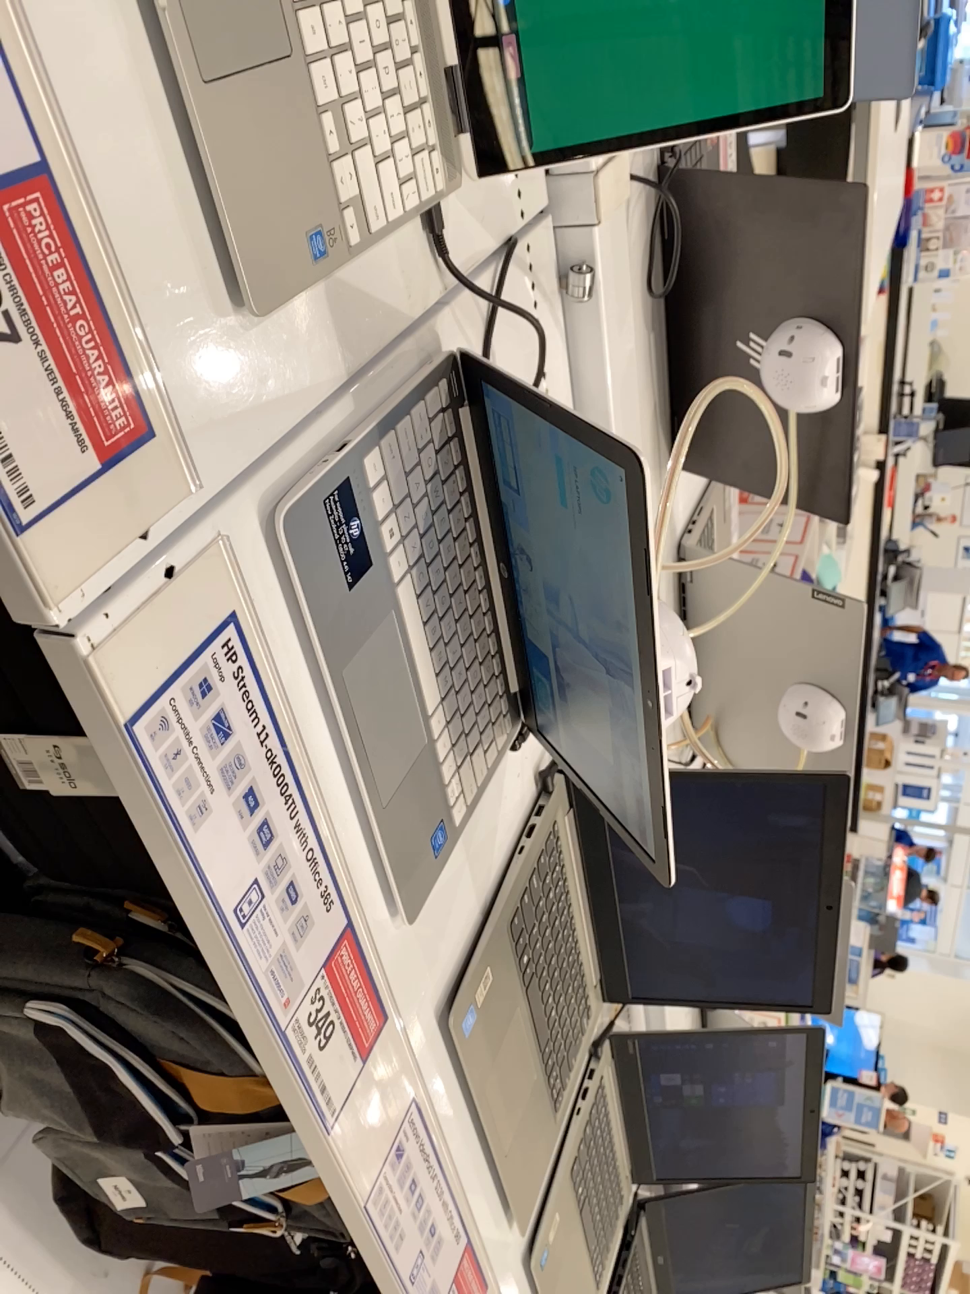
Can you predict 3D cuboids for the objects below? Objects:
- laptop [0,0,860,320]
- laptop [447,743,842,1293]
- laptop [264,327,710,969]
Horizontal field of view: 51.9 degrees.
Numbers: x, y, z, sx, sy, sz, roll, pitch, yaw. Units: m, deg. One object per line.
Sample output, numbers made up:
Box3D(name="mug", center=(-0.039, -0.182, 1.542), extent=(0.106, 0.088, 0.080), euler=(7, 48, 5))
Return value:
Box3D(name="laptop", center=(0.024, -0.310, 0.382), extent=(0.297, 0.189, 0.258), euler=(-59, 147, -46))
Box3D(name="laptop", center=(0.154, 0.299, 0.804), extent=(0.276, 0.212, 0.327), euler=(-59, 147, -44))
Box3D(name="laptop", center=(0.027, -0.002, 0.543), extent=(0.181, 0.139, 0.277), euler=(-57, 145, -45))
